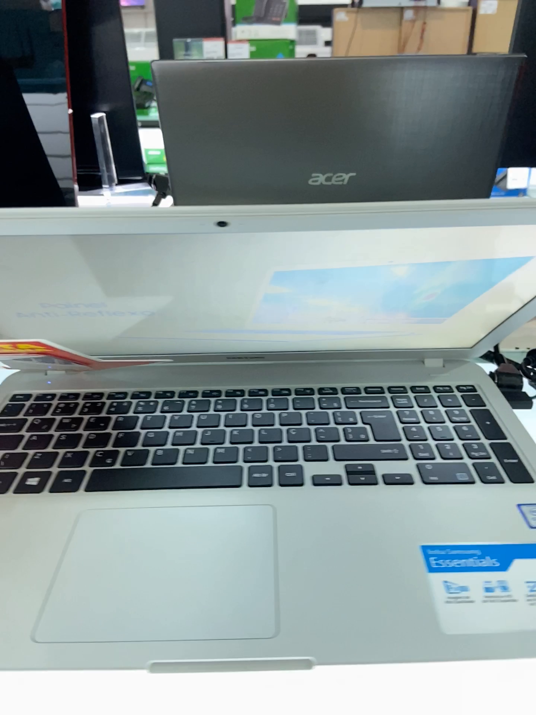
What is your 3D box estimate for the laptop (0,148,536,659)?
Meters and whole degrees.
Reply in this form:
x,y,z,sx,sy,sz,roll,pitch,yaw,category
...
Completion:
x,y,z,sx,sy,sz,roll,pitch,yaw,category
-0.017,-0.004,0.297,0.367,0.162,0.233,-1,29,0,laptop
